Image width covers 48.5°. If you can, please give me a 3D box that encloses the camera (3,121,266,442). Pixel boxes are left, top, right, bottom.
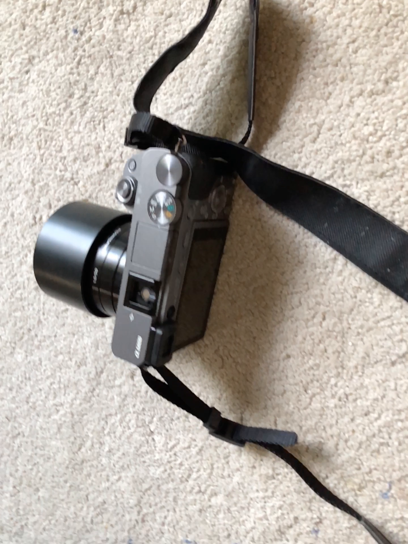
[{"bbox_3d":[-0.042,-0.002,0.262,0.110,0.070,0.140,17,103,25],"label":"camera"}]
